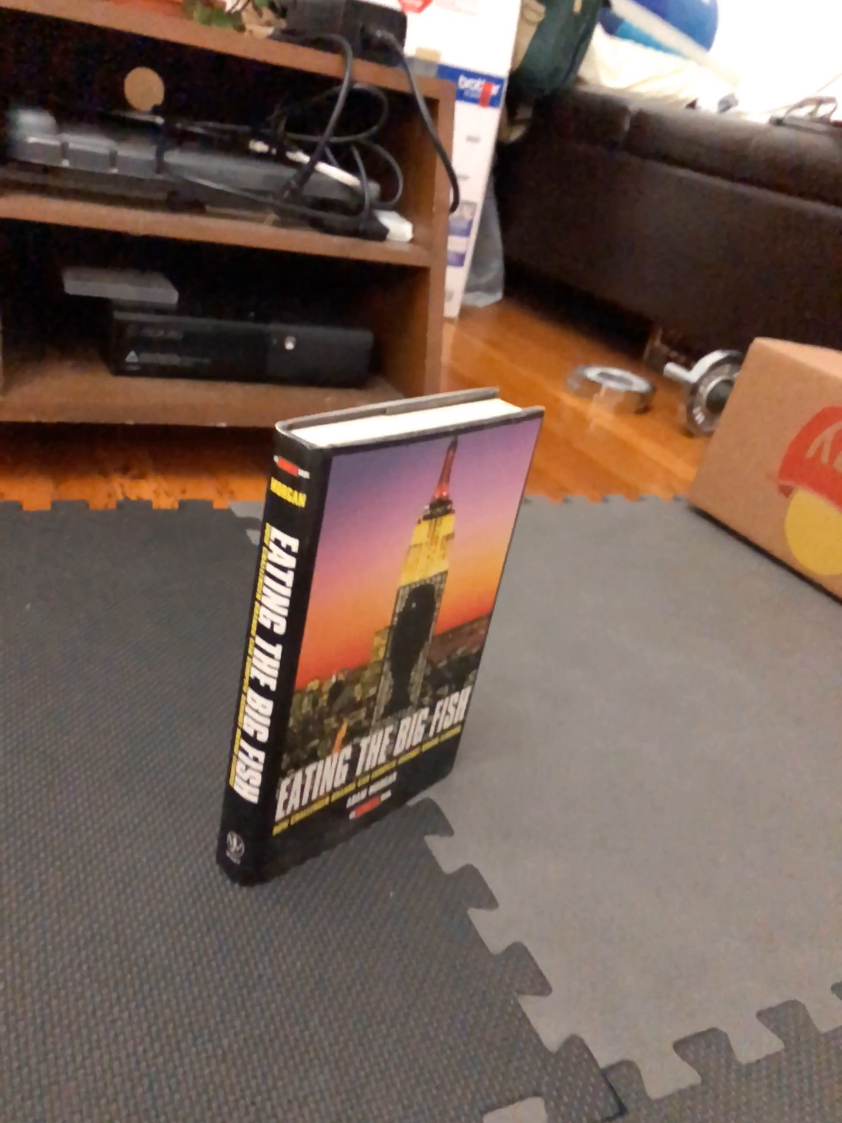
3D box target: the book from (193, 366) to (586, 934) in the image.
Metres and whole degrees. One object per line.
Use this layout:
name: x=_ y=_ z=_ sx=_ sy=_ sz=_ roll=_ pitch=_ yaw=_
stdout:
book: x=-0.017 y=0.039 z=0.482 sx=0.050 sy=0.258 sz=0.181 roll=30 pitch=31 yaw=30
